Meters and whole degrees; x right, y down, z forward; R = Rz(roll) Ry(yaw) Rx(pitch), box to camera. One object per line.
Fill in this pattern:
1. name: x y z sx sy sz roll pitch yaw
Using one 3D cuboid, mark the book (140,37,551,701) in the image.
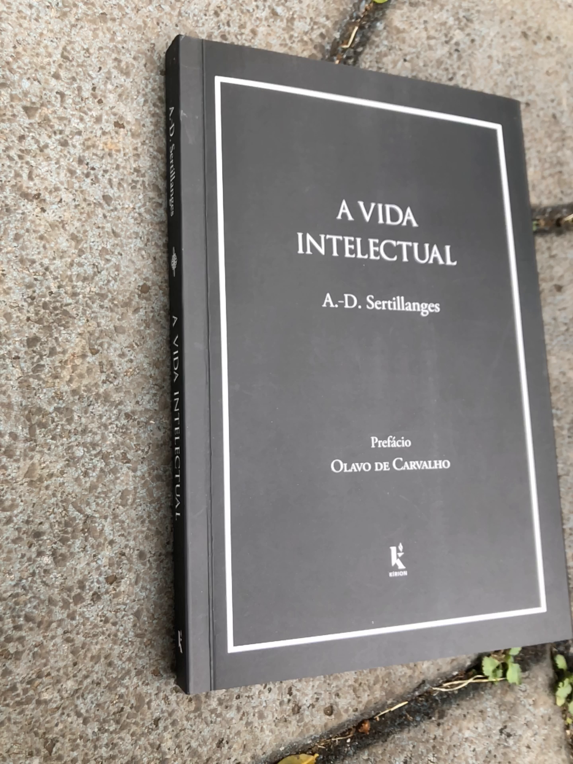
1. book: 0.021 -0.008 0.220 0.136 0.020 0.196 1 83 -20
